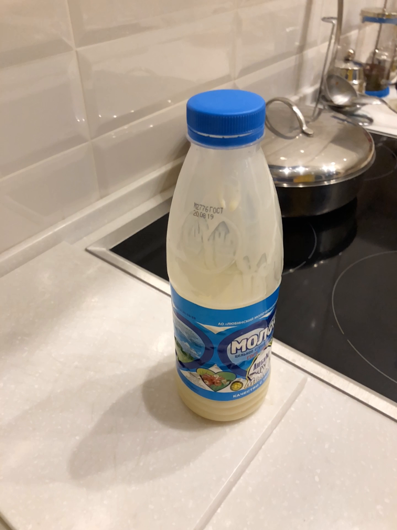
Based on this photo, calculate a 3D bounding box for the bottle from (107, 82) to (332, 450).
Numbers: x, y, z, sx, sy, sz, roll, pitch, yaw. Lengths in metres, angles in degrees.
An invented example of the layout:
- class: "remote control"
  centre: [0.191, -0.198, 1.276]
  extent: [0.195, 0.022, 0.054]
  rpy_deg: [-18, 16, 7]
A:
- class: "bottle"
  centre: [0.013, 0.009, 0.283]
  extent: [0.080, 0.213, 0.080]
  rpy_deg: [0, 38, 0]
